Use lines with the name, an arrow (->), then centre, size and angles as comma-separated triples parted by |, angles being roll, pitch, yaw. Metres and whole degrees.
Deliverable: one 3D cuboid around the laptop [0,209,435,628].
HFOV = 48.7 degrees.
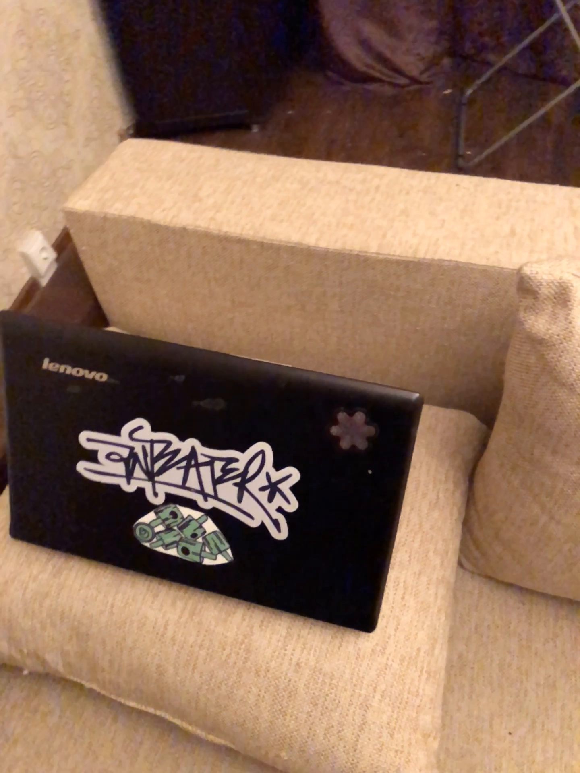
laptop -> -0.089, 0.029, 0.661 | 0.413, 0.223, 0.268 | 11, 58, 10
